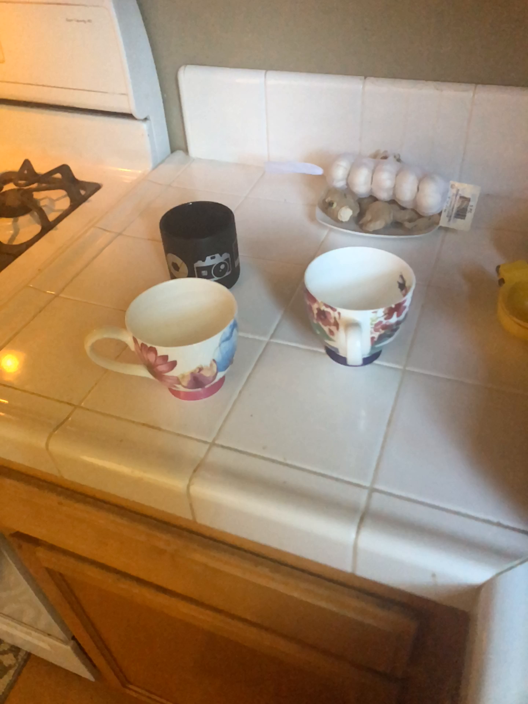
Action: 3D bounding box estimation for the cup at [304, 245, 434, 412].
[{"bbox_3d":[0.096,-0.027,0.580,0.110,0.089,0.151,0,43,5],"label":"cup"}]

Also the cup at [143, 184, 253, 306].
[{"bbox_3d":[-0.085,-0.137,0.726,0.110,0.069,0.141,-11,44,-7],"label":"cup"}]

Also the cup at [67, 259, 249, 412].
[{"bbox_3d":[-0.097,-0.018,0.567,0.150,0.079,0.111,-7,43,-2],"label":"cup"}]
